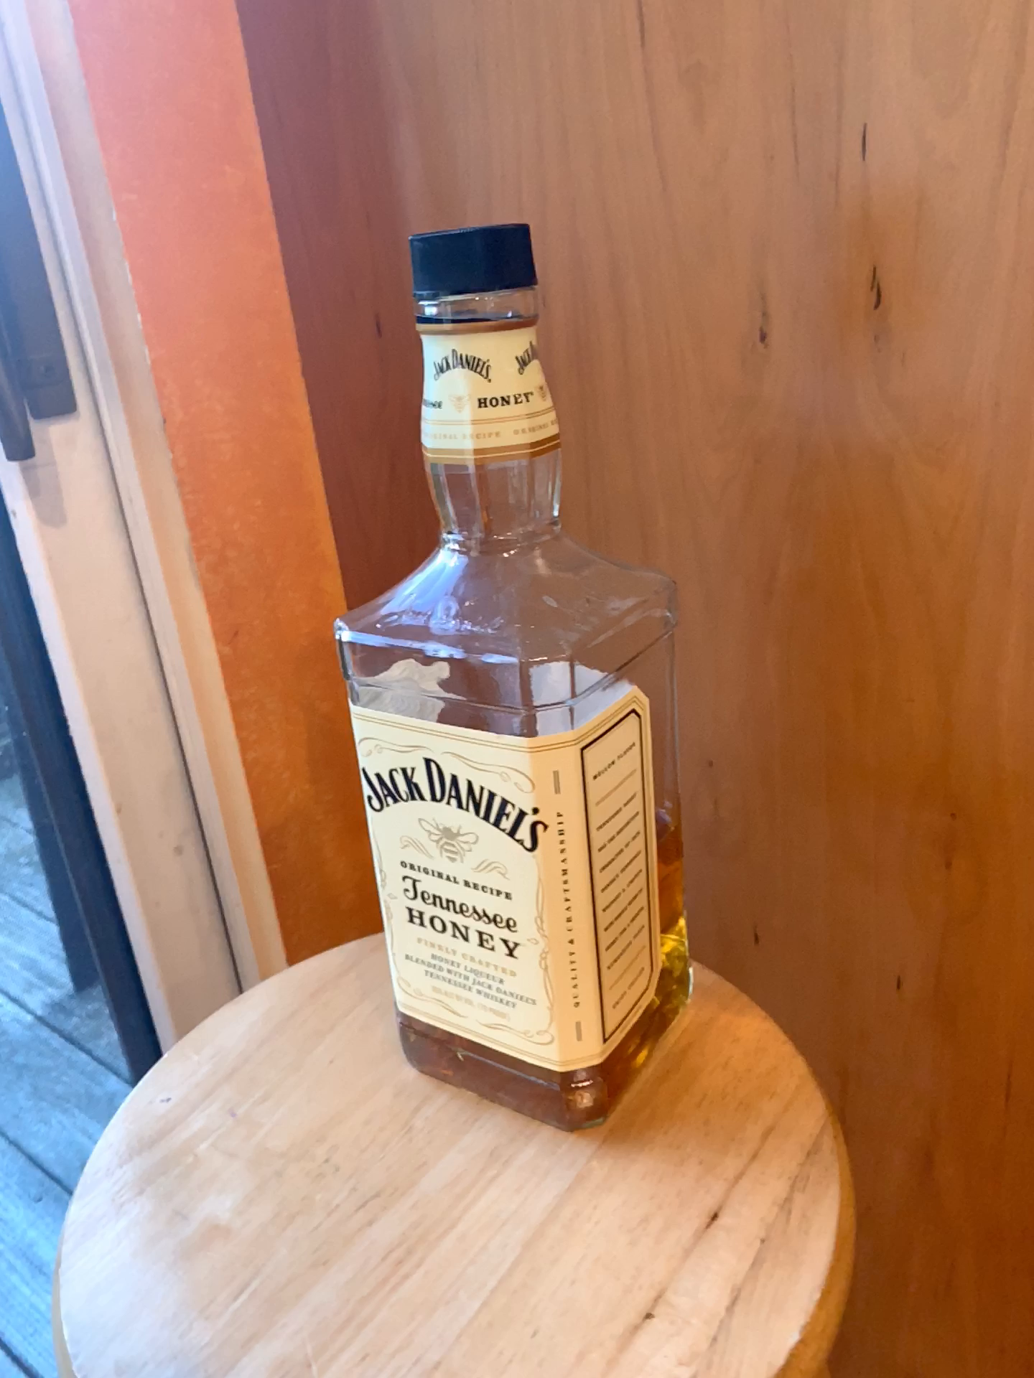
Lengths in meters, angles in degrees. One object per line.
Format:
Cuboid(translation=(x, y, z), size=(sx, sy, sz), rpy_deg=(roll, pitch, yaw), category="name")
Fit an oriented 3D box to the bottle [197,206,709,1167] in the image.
Cuboid(translation=(-0.009, 0.002, 0.410), size=(0.120, 0.328, 0.100), rpy_deg=(8, 26, 32), category="bottle")
